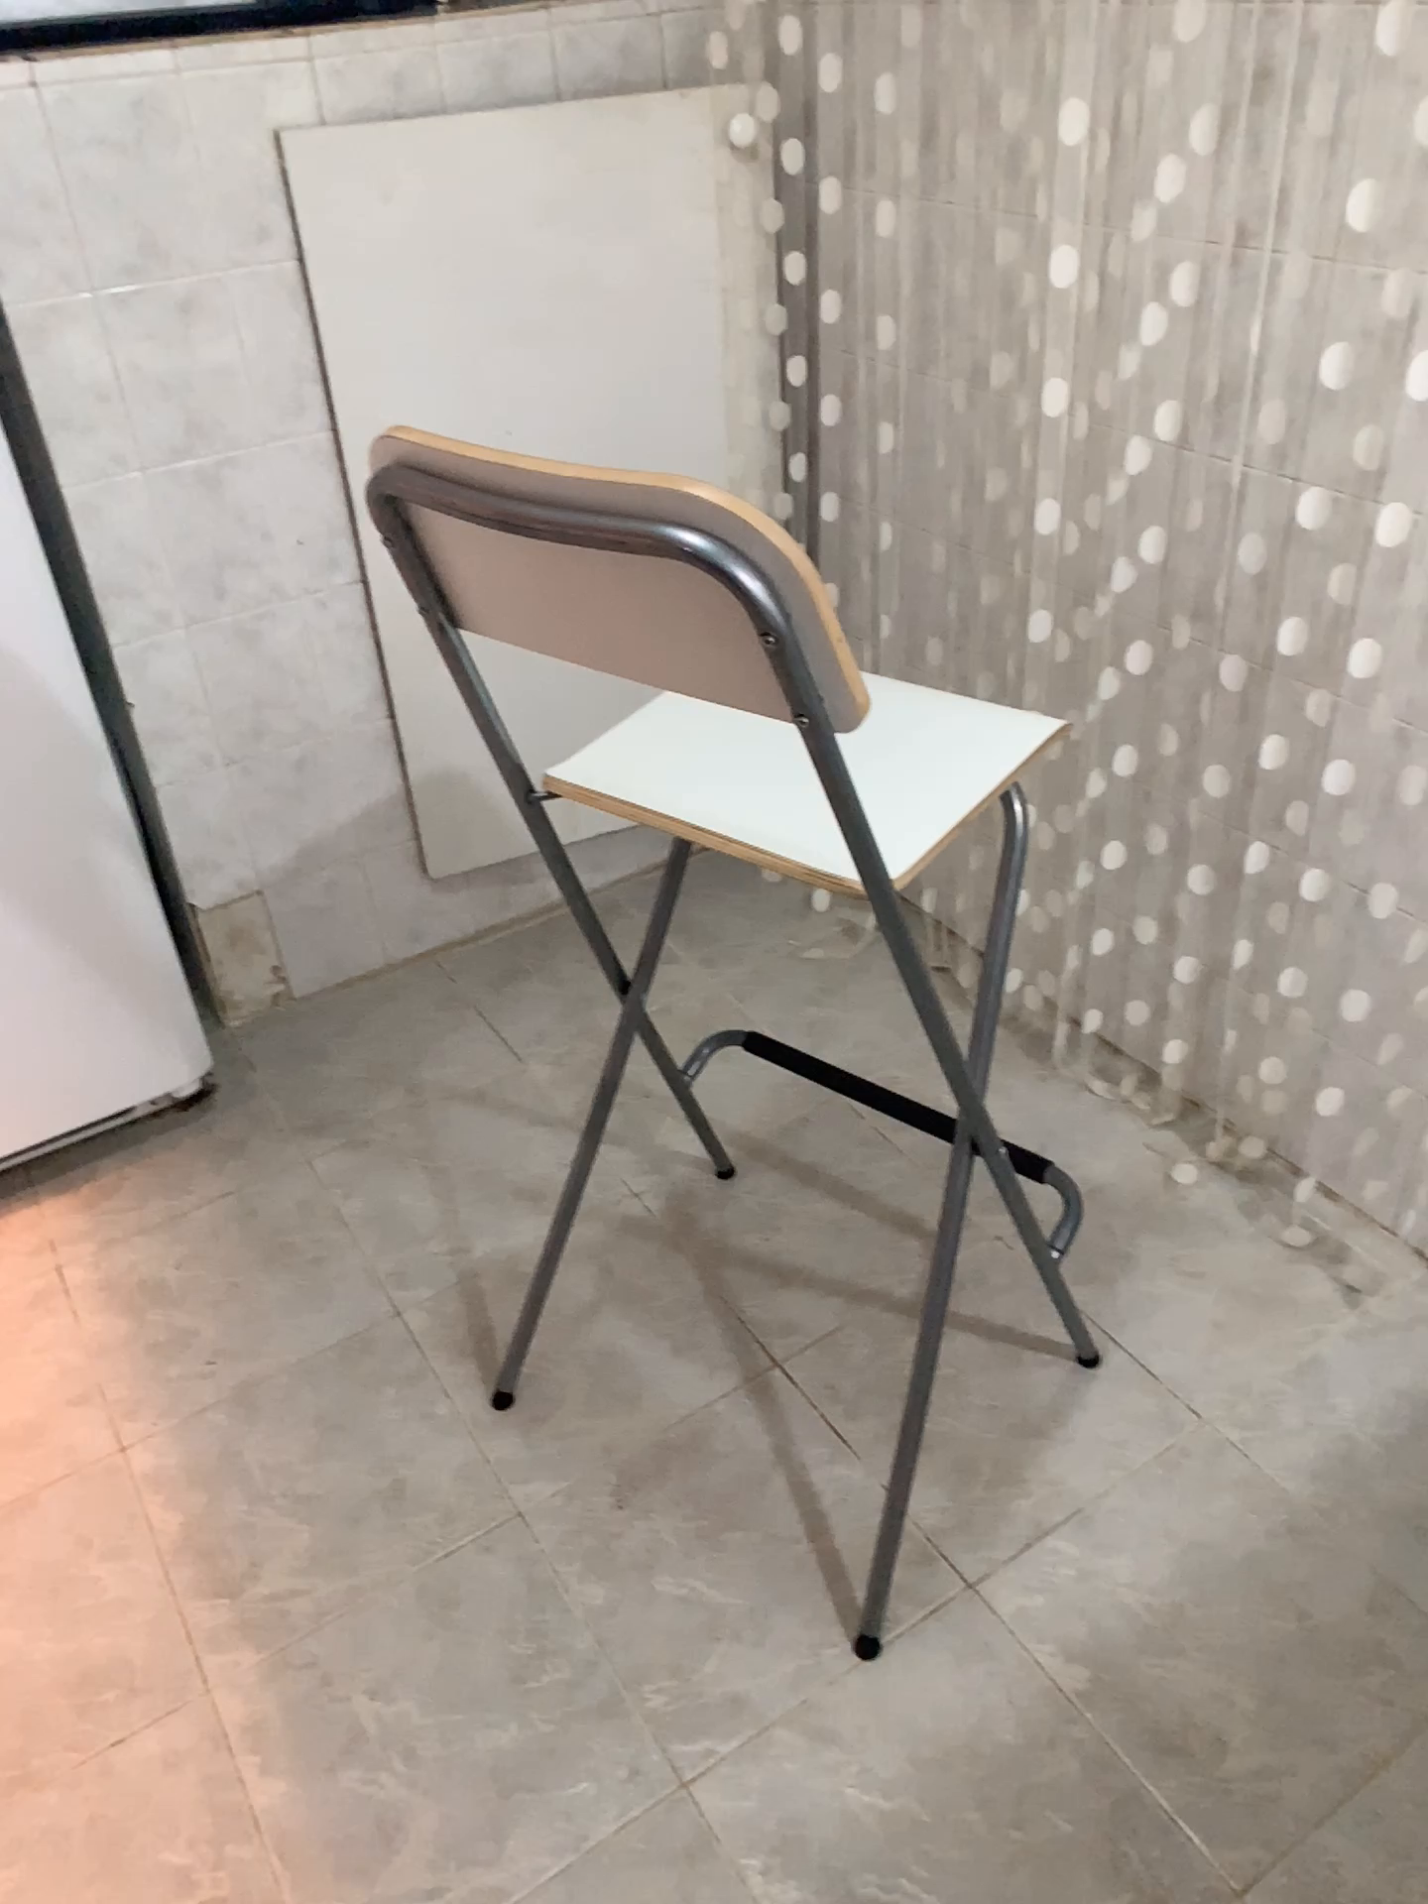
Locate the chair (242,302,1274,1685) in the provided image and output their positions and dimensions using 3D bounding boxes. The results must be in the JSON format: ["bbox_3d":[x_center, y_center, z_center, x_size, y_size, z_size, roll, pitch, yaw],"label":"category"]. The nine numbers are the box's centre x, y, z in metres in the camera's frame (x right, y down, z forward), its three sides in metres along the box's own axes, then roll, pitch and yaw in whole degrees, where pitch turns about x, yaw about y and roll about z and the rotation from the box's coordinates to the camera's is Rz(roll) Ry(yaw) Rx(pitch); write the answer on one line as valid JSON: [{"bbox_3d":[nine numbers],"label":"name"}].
[{"bbox_3d":[0.056,0.037,1.283,0.538,1.008,0.467,22,42,31],"label":"chair"}]
